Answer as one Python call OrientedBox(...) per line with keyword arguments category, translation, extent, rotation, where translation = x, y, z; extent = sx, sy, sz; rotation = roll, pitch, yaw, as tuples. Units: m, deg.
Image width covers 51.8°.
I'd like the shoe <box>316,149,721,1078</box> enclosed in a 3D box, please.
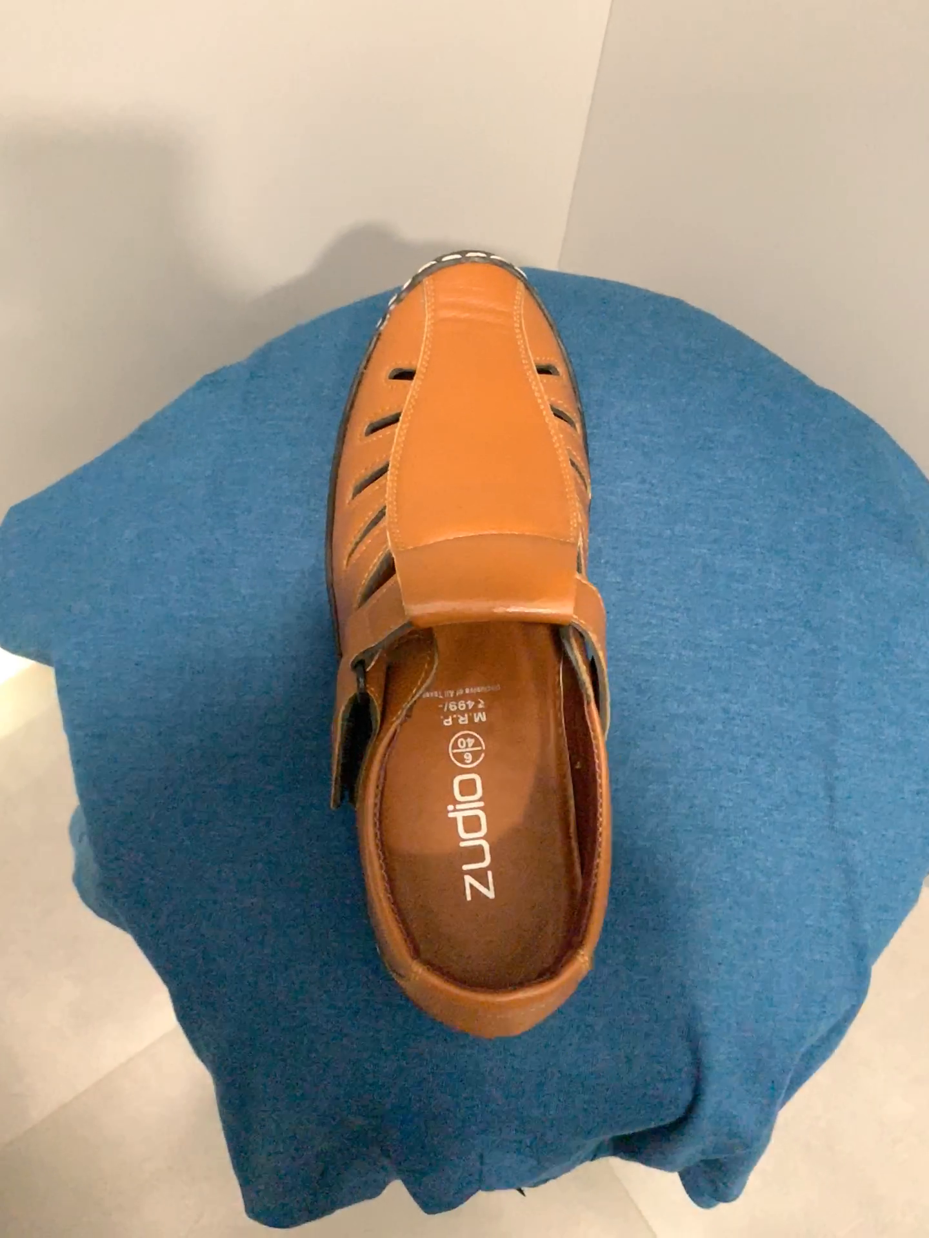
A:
OrientedBox(category="shoe", translation=(0.007, -0.006, 0.318), extent=(0.100, 0.100, 0.270), rotation=(-2, 75, -2))
